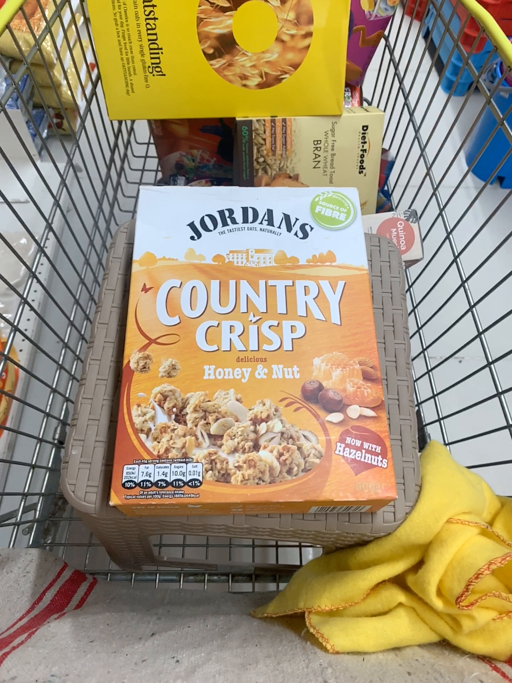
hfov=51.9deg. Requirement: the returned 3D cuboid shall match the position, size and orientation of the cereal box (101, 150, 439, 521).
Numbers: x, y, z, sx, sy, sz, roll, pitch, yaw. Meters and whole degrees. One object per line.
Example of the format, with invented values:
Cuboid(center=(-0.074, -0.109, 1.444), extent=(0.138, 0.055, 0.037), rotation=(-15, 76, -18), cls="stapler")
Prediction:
Cuboid(center=(0.008, -0.011, 0.388), extent=(0.190, 0.080, 0.260), rotation=(1, 64, -2), cls="cereal box")
